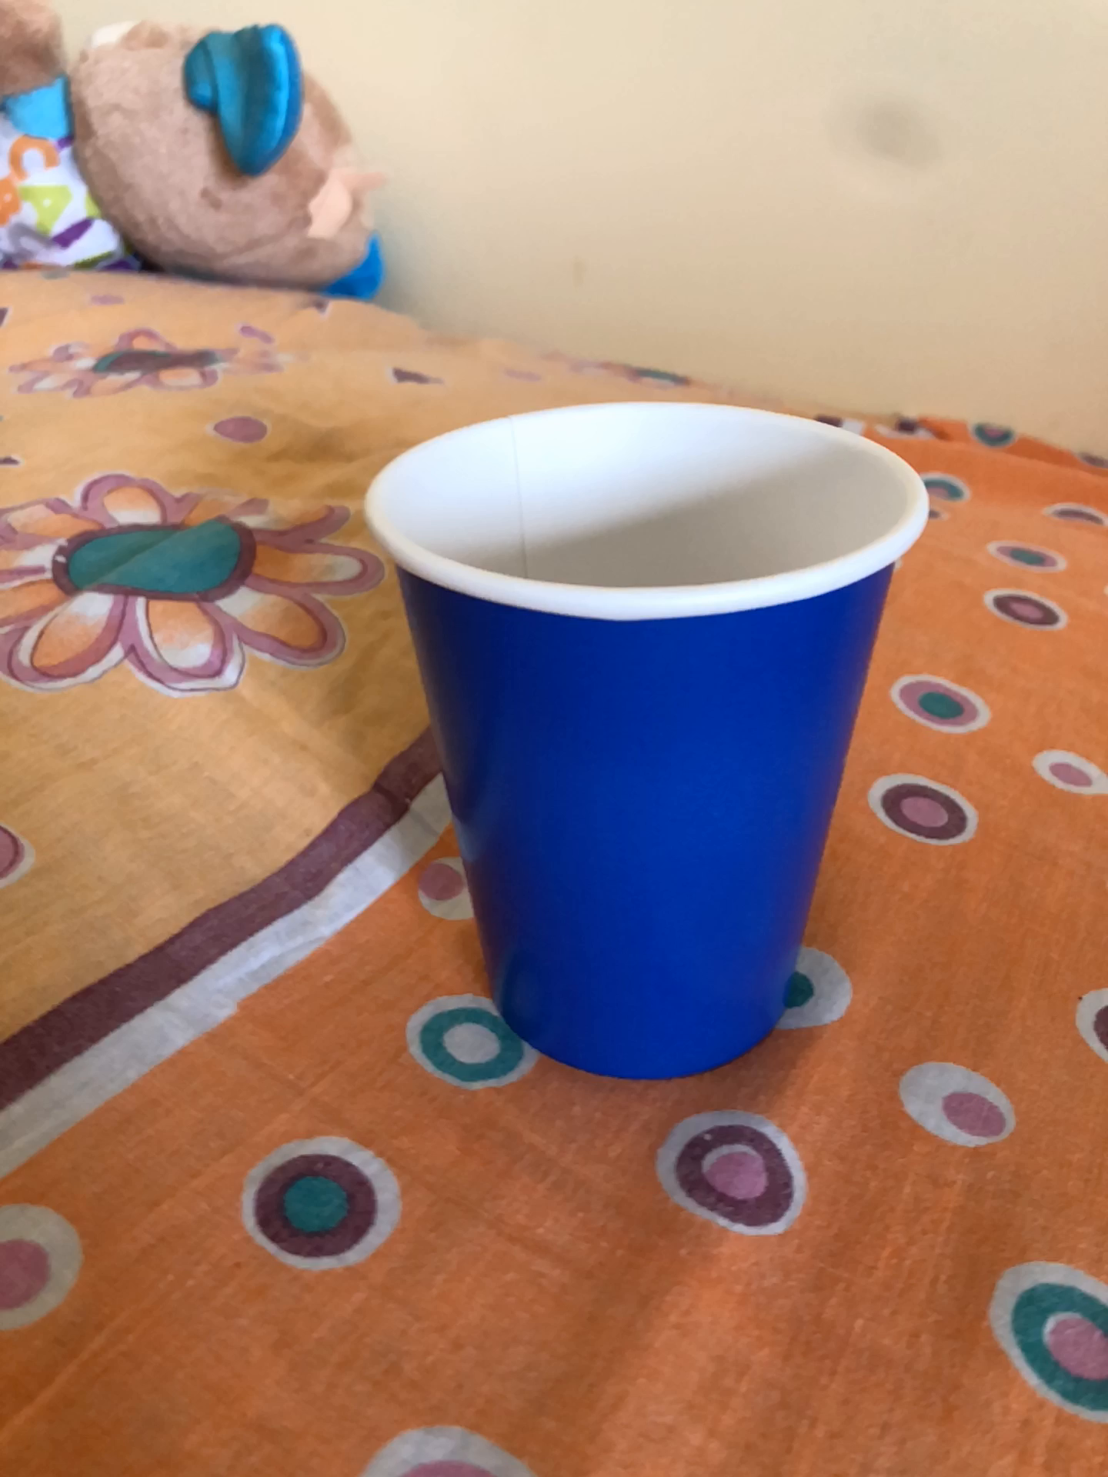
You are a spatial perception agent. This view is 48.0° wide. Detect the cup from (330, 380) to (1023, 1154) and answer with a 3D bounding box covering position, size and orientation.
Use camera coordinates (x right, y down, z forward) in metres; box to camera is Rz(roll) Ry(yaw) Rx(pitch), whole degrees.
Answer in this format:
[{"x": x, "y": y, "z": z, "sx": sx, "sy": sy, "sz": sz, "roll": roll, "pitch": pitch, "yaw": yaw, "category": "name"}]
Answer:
[{"x": 0.014, "y": 0.001, "z": 0.200, "sx": 0.080, "sy": 0.090, "sz": 0.080, "roll": -3, "pitch": 31, "yaw": 2, "category": "cup"}]
